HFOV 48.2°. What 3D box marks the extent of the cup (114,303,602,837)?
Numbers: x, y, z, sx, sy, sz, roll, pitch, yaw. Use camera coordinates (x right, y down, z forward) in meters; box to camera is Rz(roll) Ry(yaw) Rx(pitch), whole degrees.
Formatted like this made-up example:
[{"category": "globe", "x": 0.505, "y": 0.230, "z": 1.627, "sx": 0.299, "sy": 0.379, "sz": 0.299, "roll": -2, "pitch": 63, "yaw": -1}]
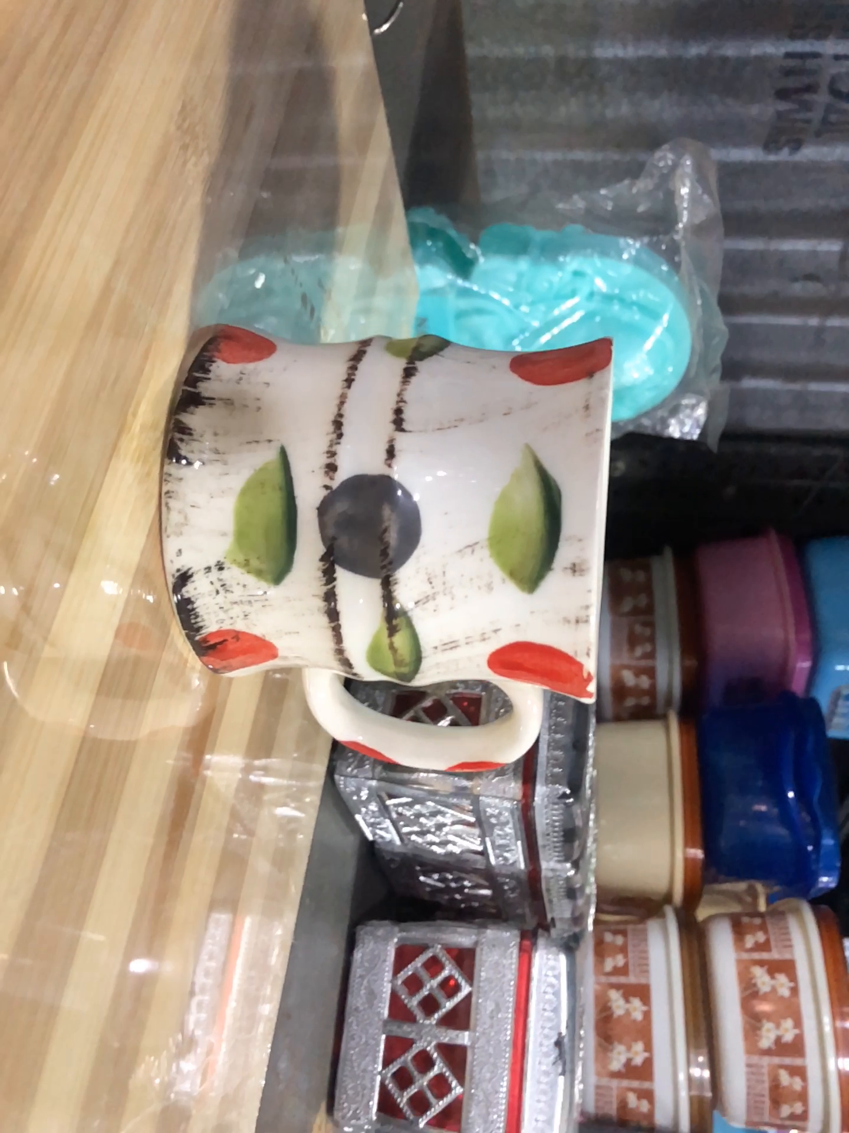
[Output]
[{"category": "cup", "x": -0.003, "y": 0.005, "z": 0.216, "sx": 0.110, "sy": 0.080, "sz": 0.060, "roll": 81, "pitch": 15, "yaw": -48}]
